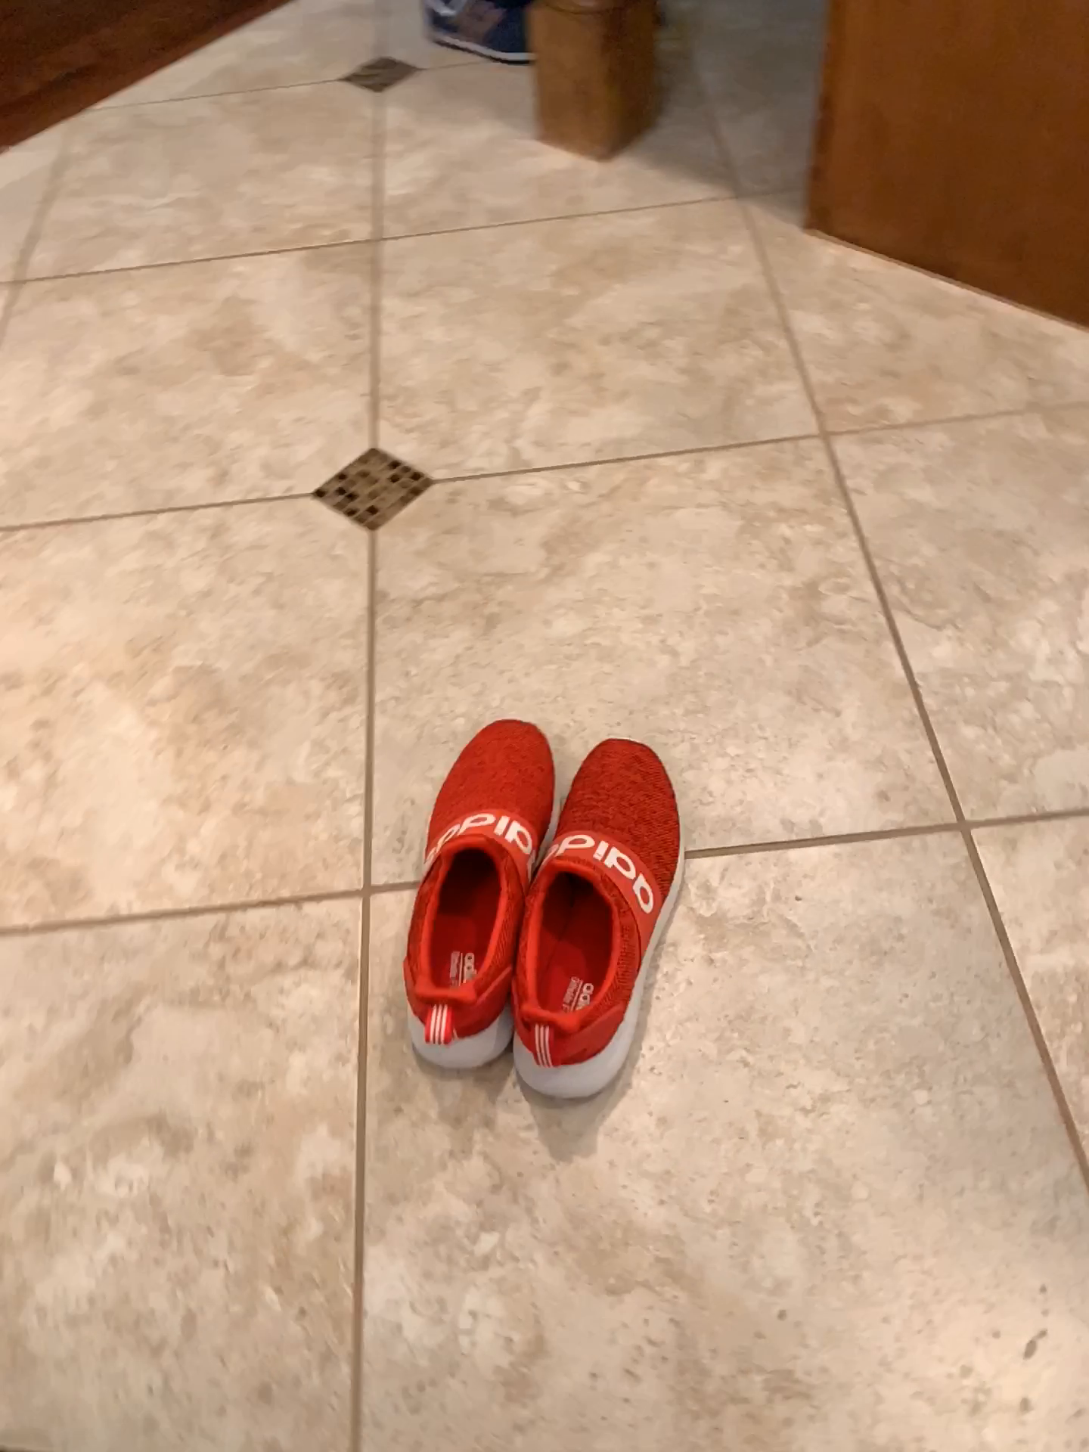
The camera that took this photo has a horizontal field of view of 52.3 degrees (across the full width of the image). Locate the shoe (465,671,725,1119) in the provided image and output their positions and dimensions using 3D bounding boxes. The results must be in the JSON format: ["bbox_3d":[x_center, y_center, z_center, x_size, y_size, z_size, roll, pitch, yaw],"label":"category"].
[{"bbox_3d":[0.049,0.120,0.849,0.117,0.119,0.301,10,55,12],"label":"shoe"}]

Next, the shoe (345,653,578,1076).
[{"bbox_3d":[-0.052,0.099,0.867,0.117,0.119,0.301,3,54,8],"label":"shoe"}]
